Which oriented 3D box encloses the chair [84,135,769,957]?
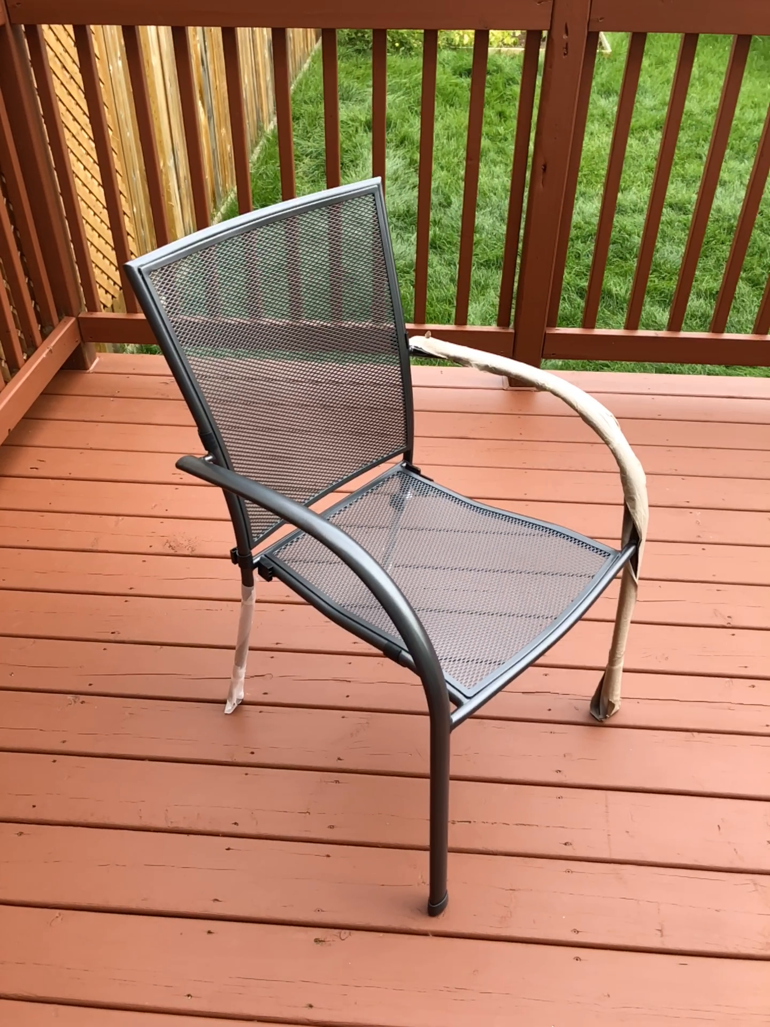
[{"bbox_3d":[0.076,0.022,1.318,0.651,0.926,0.601,29,47,31],"label":"chair"}]
